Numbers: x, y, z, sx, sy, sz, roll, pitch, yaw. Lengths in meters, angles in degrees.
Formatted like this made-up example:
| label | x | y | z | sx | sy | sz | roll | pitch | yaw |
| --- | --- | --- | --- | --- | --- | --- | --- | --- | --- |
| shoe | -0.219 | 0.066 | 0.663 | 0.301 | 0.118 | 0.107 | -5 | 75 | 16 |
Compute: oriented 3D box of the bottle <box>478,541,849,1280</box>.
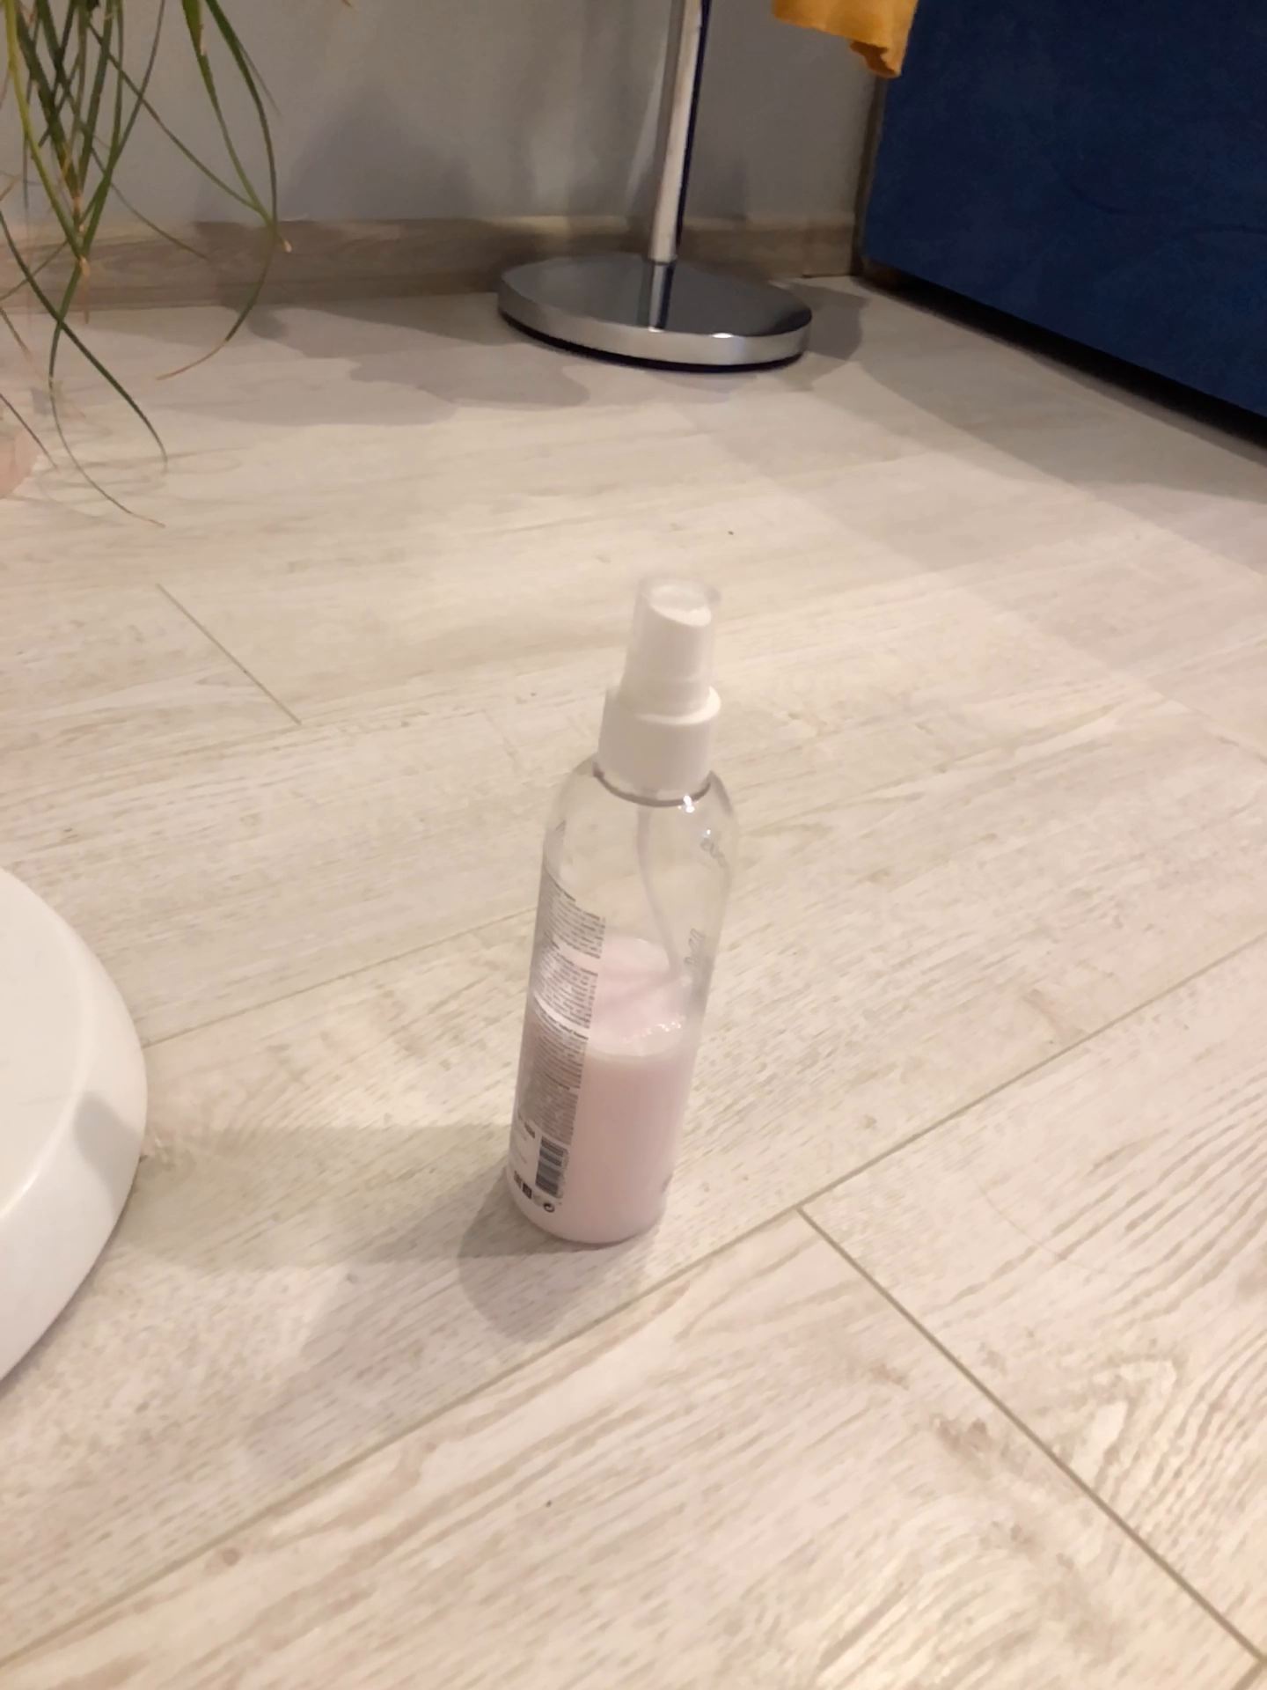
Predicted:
| label | x | y | z | sx | sy | sz | roll | pitch | yaw |
| --- | --- | --- | --- | --- | --- | --- | --- | --- | --- |
| bottle | 0.001 | 0.022 | 0.356 | 0.054 | 0.183 | 0.049 | -18 | 41 | -34 |
